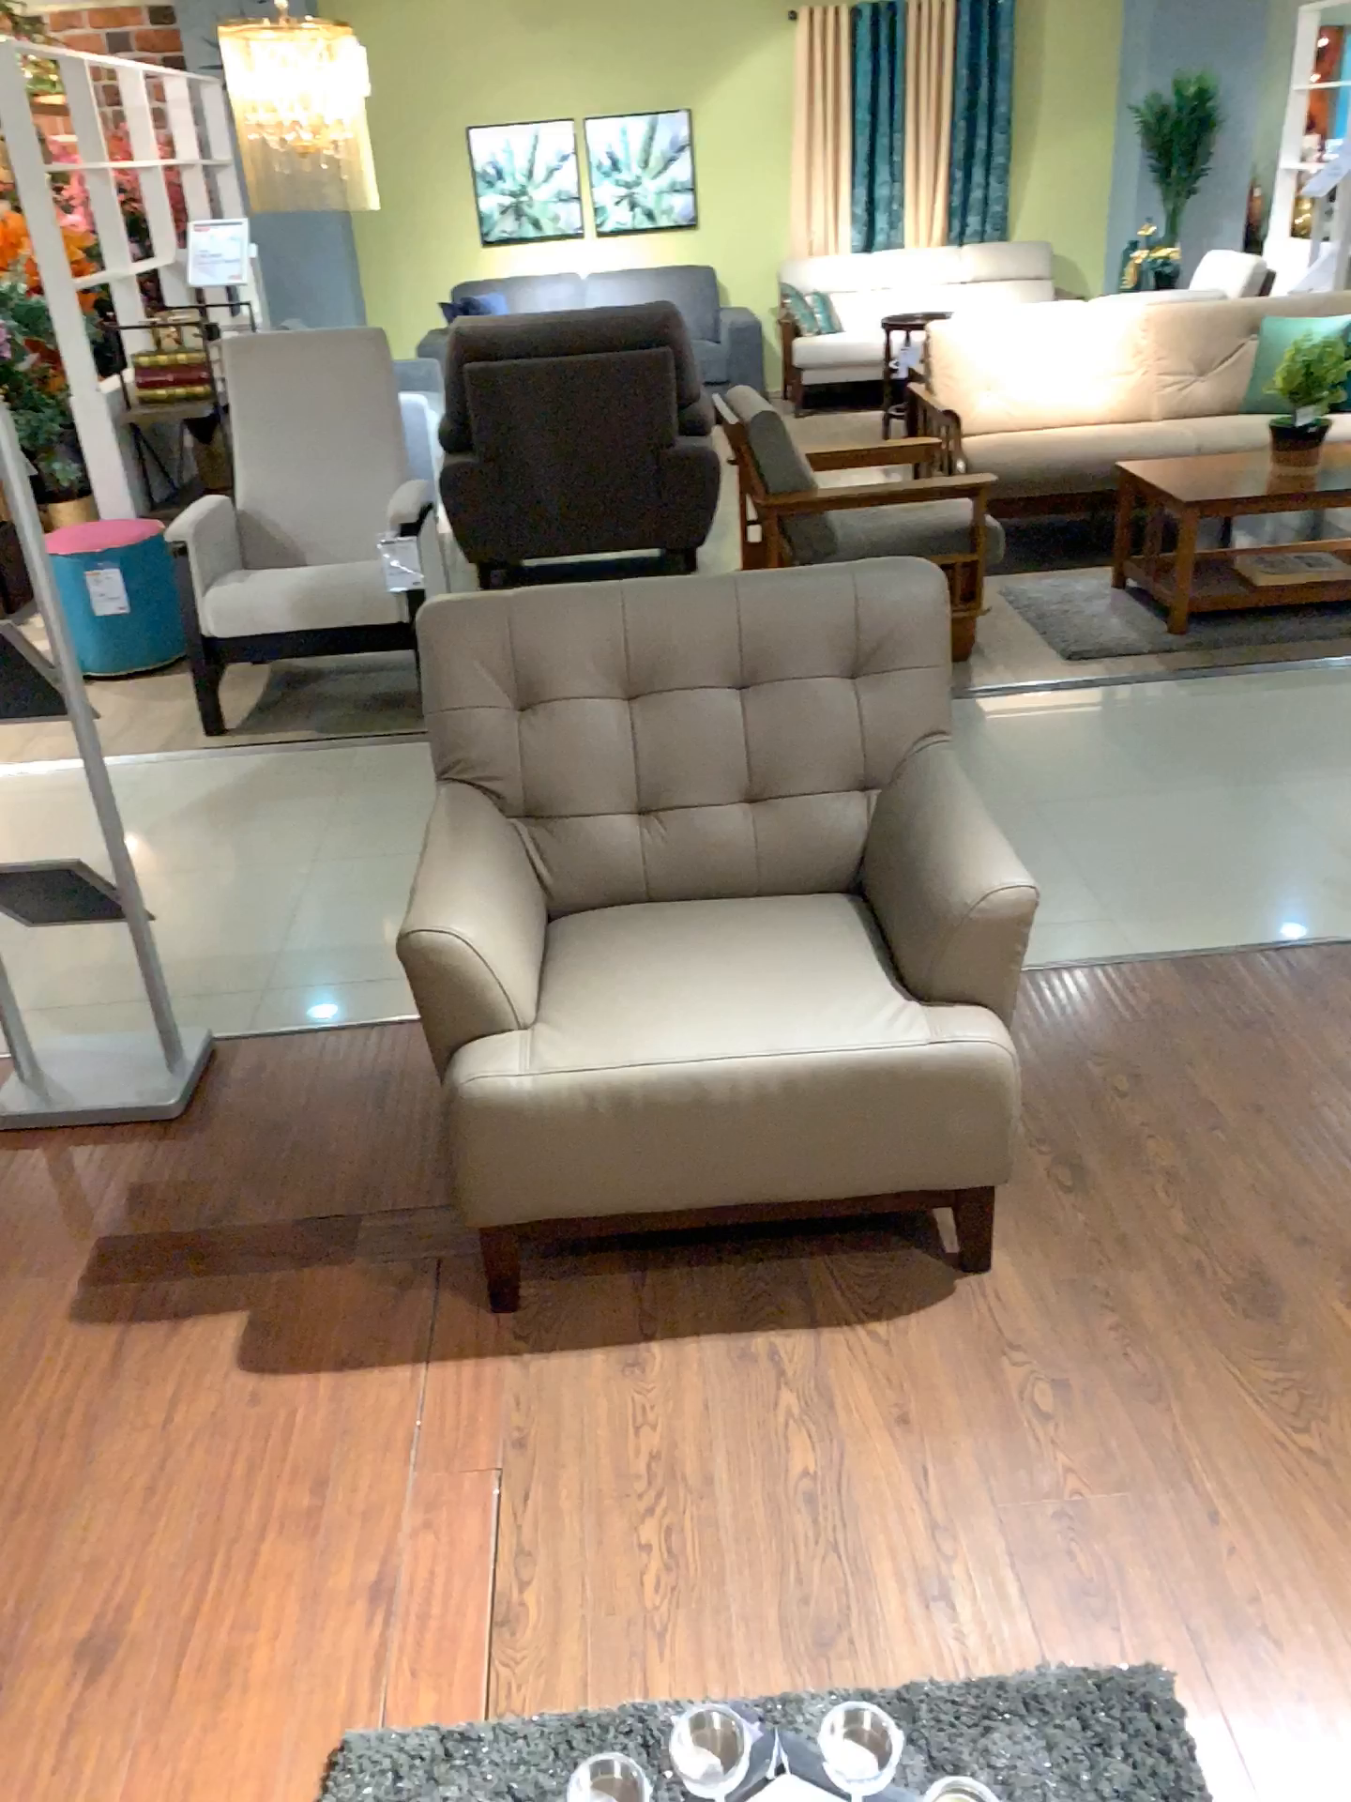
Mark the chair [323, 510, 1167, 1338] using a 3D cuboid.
[{"bbox_3d":[0.070,-0.042,2.179,0.950,0.856,1.004,-5,28,-2],"label":"chair"}]
